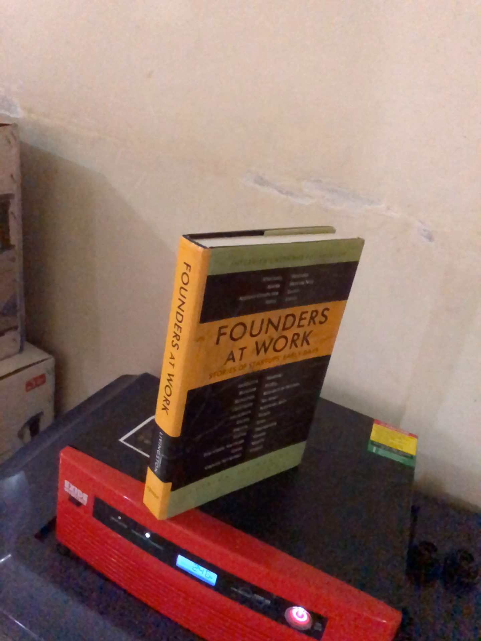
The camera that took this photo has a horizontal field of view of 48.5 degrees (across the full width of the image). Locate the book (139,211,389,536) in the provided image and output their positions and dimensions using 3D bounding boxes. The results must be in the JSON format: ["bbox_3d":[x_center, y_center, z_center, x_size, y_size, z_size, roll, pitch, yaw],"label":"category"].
[{"bbox_3d":[0.016,0.040,0.440,0.180,0.249,0.040,-11,32,-36],"label":"book"}]
